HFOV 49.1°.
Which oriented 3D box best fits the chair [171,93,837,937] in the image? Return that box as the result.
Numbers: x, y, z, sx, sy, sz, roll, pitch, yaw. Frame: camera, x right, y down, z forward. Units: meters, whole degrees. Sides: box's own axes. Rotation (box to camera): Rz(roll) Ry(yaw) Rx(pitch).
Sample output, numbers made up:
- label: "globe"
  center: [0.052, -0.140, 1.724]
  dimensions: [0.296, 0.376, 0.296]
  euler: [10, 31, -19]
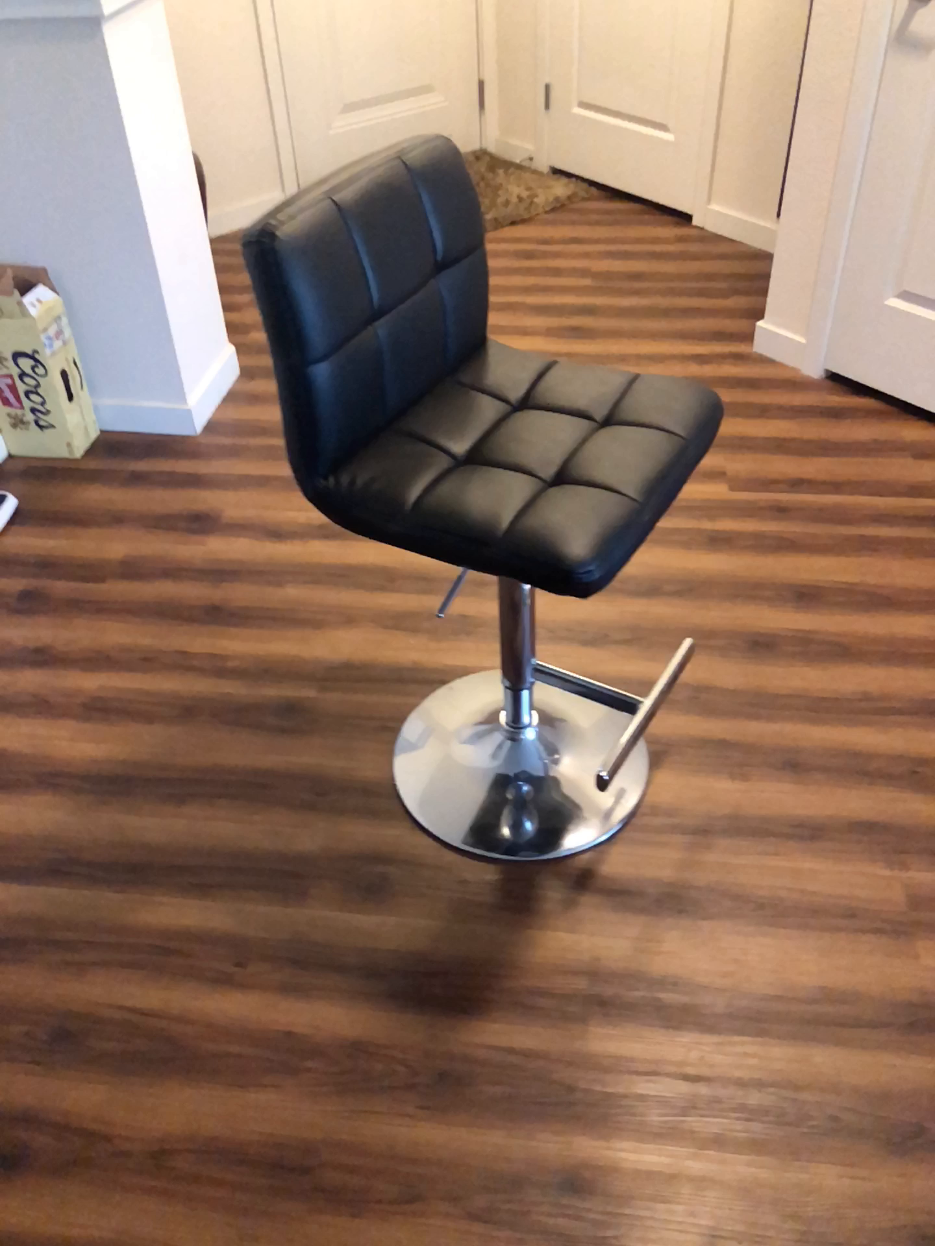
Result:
- label: "chair"
  center: [0.079, -0.148, 1.464]
  dimensions: [0.569, 0.952, 0.536]
  euler: [19, 45, 24]
